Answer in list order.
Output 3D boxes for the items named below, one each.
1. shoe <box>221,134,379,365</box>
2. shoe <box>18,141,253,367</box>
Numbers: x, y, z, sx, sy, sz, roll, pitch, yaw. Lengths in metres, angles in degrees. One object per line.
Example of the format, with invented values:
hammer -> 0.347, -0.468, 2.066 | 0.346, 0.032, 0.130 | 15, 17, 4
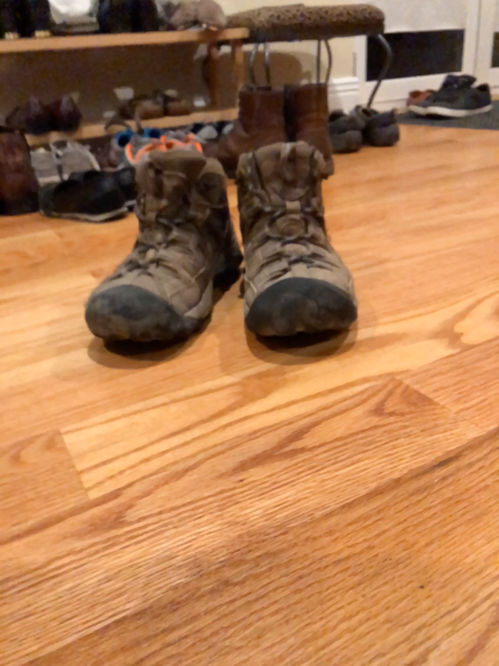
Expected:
shoe -> 0.035, -0.097, 0.522 | 0.107, 0.139, 0.261 | -4, 25, 0
shoe -> -0.083, -0.094, 0.535 | 0.107, 0.139, 0.261 | 2, 26, 14
